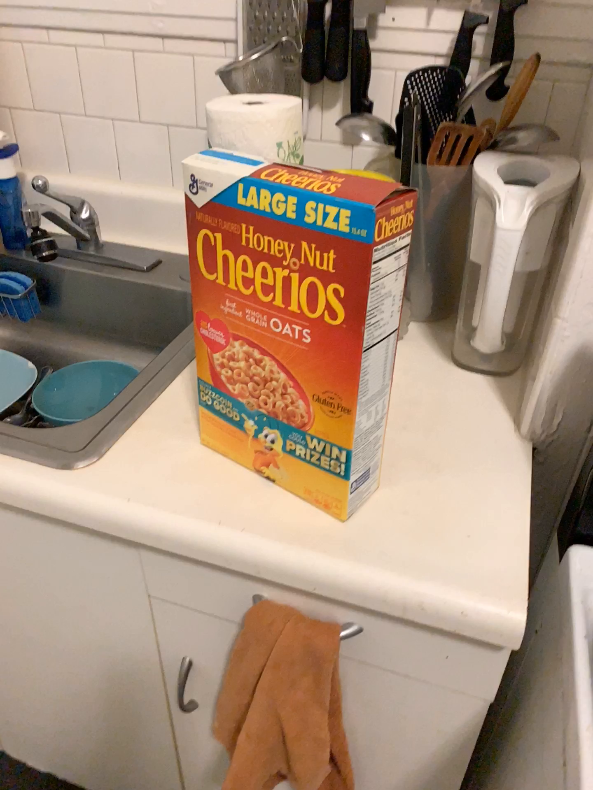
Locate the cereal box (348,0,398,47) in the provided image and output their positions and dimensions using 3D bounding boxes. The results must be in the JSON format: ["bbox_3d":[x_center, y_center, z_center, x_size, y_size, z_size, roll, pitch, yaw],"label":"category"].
[{"bbox_3d":[1.237,-6.190,9.861,0.552,0.864,0.502,24,41,28],"label":"cereal box"}]
